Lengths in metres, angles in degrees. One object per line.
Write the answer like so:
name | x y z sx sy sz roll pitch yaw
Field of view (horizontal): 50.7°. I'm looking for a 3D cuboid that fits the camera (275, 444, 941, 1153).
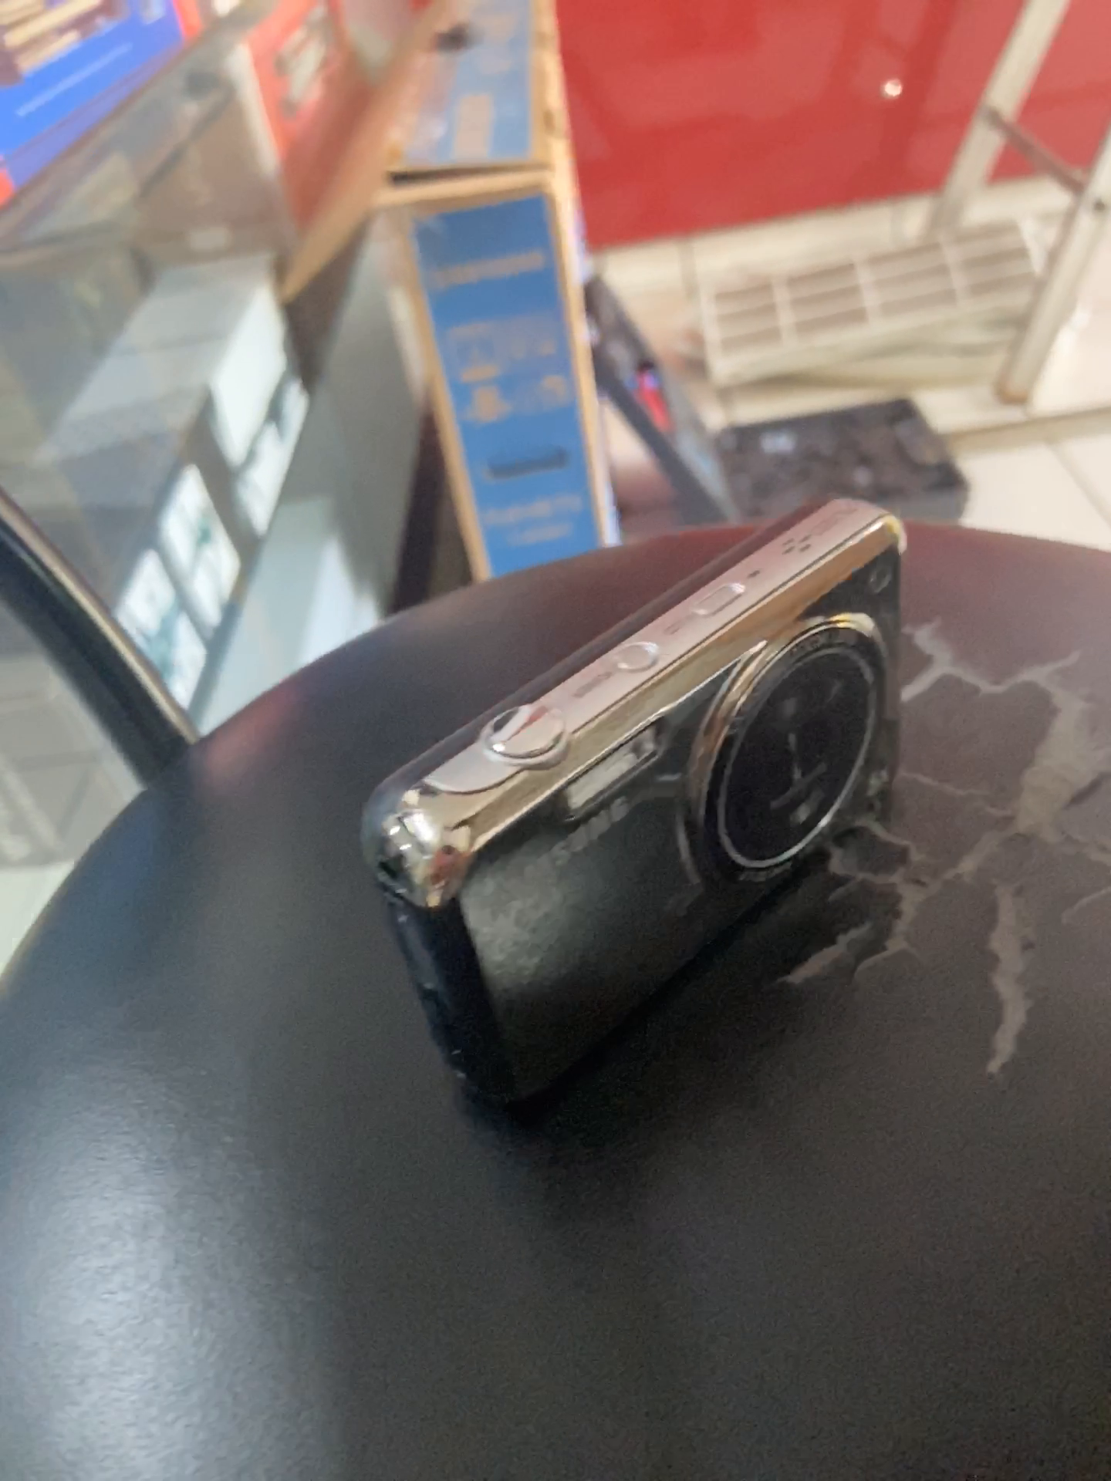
camera | 0.015 0.005 0.182 0.100 0.060 0.030 -35 45 -25
